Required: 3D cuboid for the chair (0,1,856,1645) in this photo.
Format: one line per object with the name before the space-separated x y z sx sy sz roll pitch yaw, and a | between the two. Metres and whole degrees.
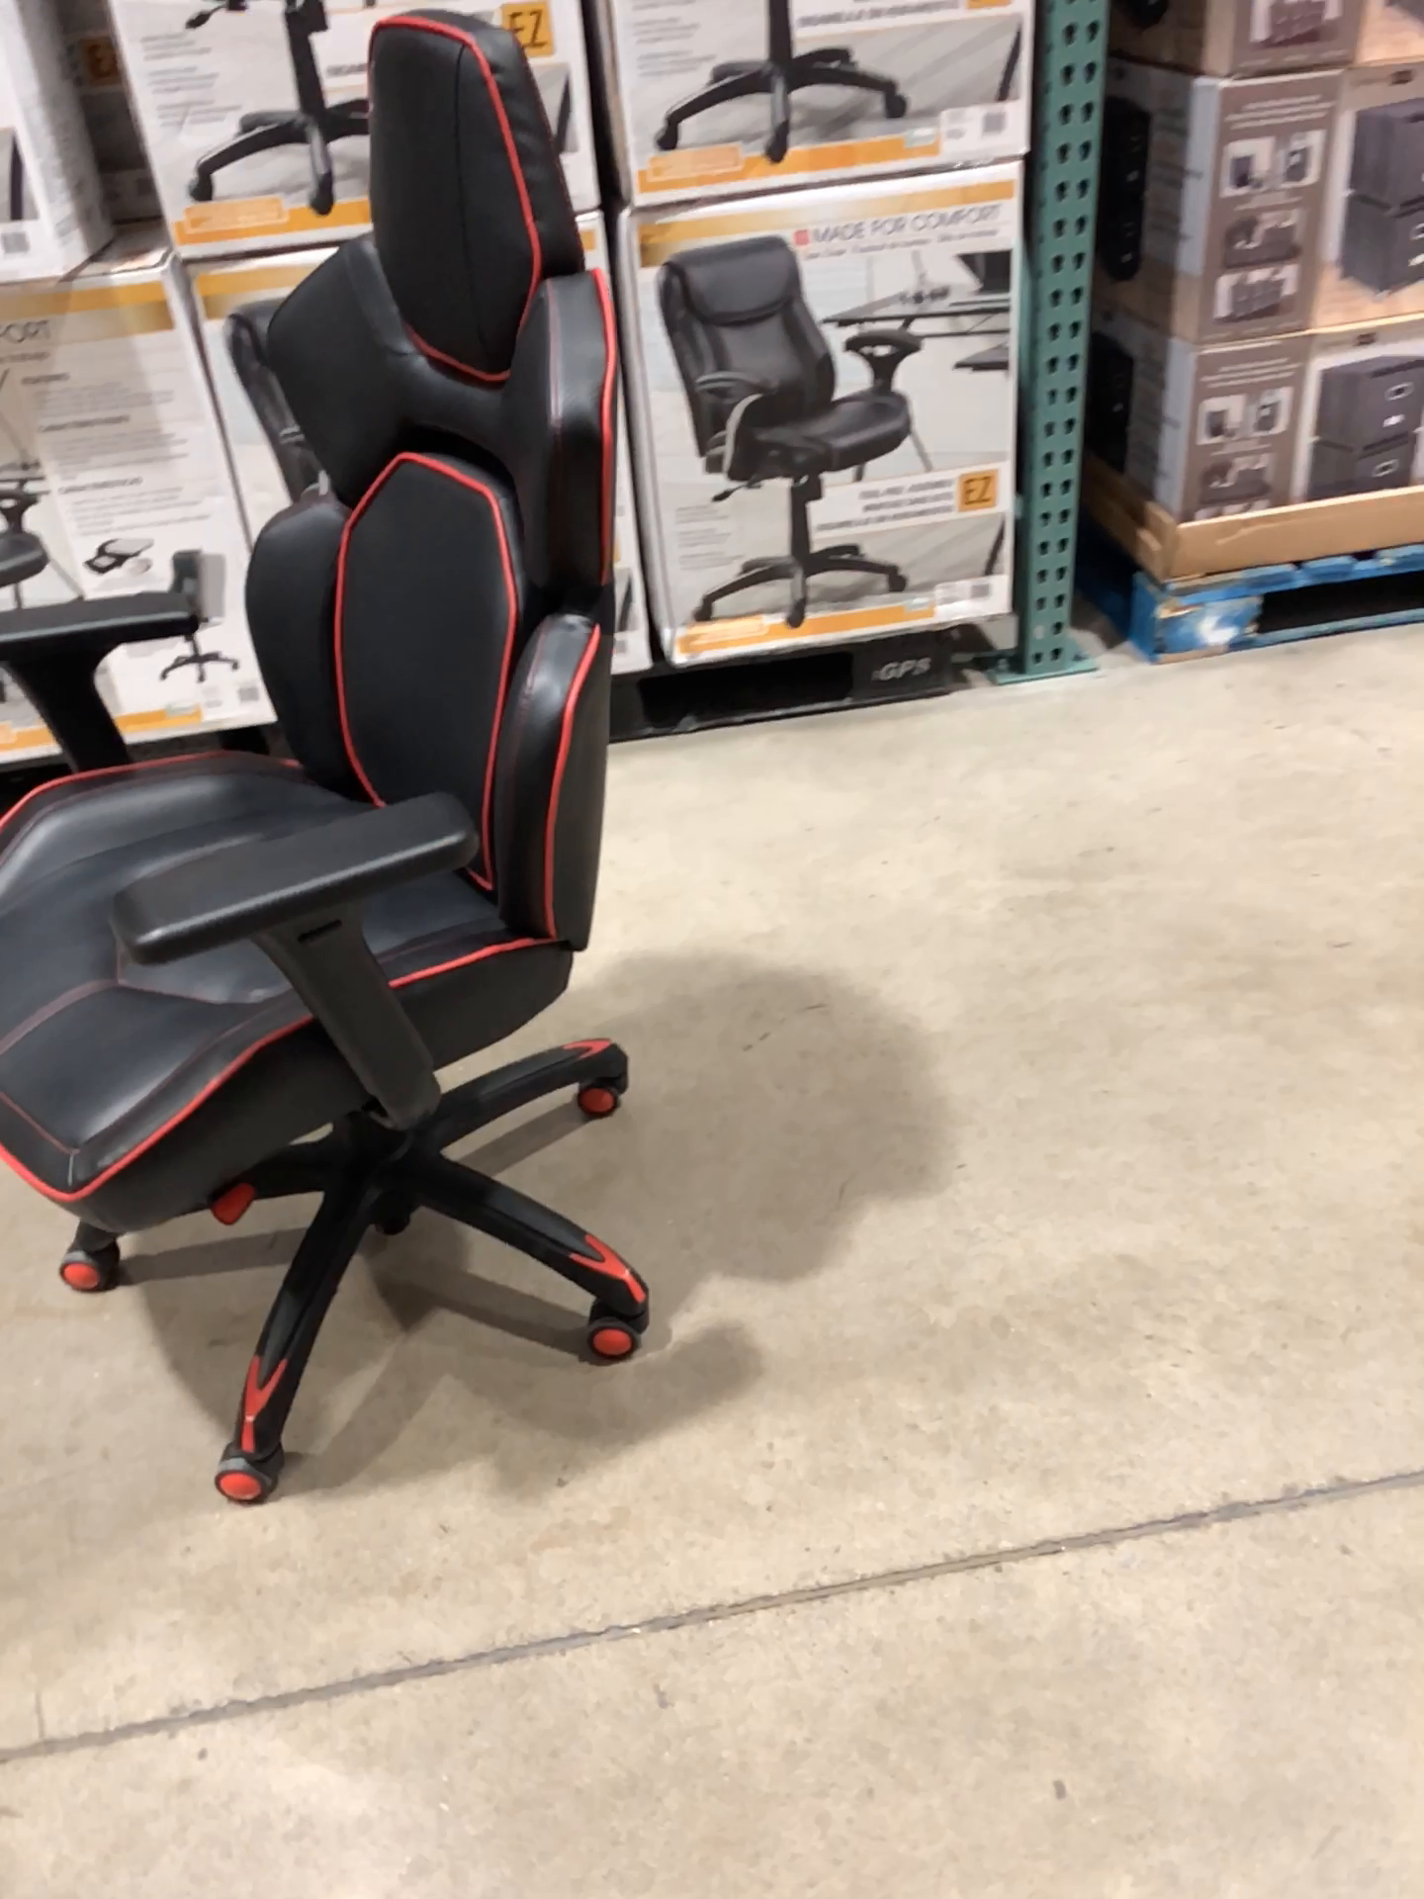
chair | -0.392 -0.164 1.434 0.721 1.145 0.722 -29 41 -31
